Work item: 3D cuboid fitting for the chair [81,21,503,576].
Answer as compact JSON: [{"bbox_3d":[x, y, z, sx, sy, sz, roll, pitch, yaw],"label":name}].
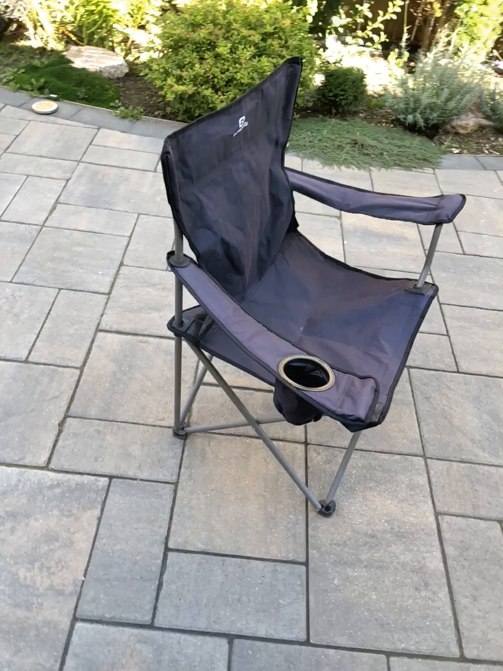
[{"bbox_3d":[0.133,-0.087,1.206,0.570,0.817,0.693,25,48,15],"label":"chair"}]
